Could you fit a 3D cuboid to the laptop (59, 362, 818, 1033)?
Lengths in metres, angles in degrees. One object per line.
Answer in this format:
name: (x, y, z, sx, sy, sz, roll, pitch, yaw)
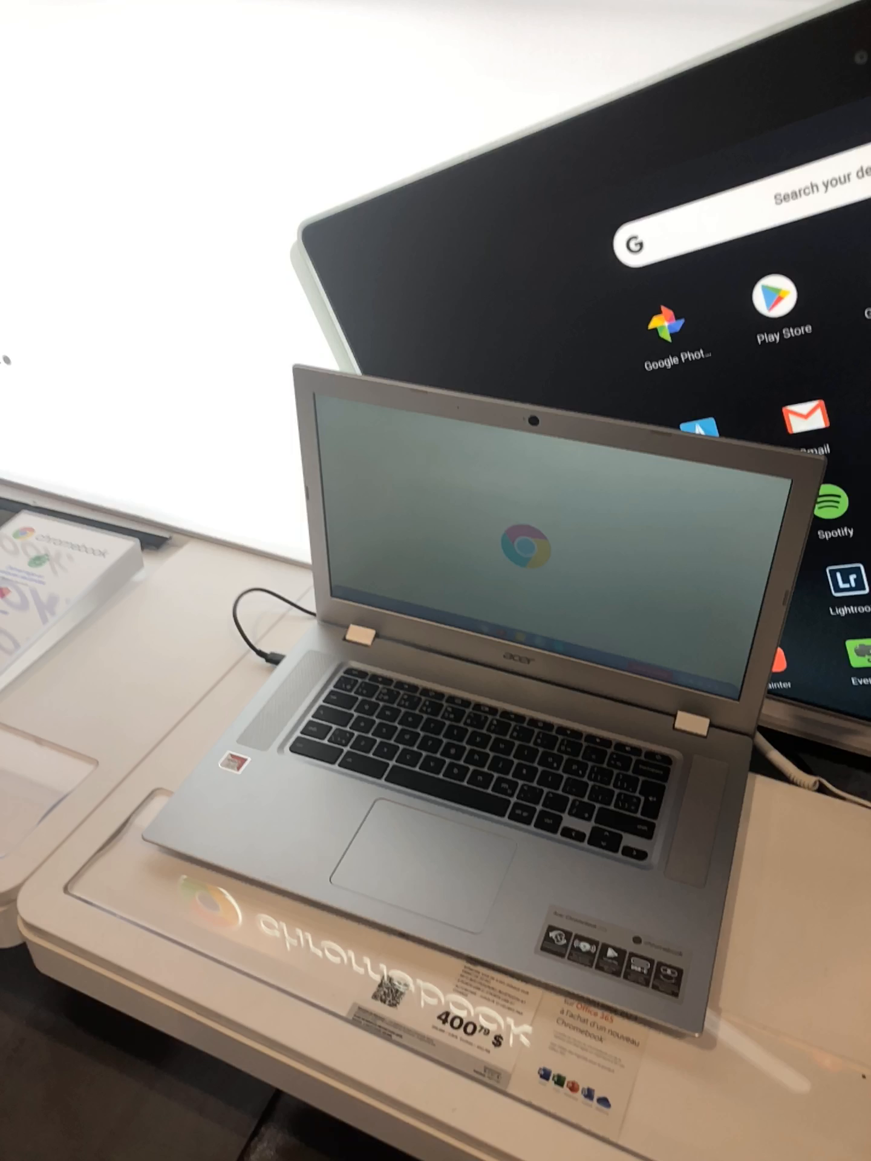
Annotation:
laptop: (0.021, 0.047, 0.633, 0.377, 0.250, 0.265, 13, 37, 18)
